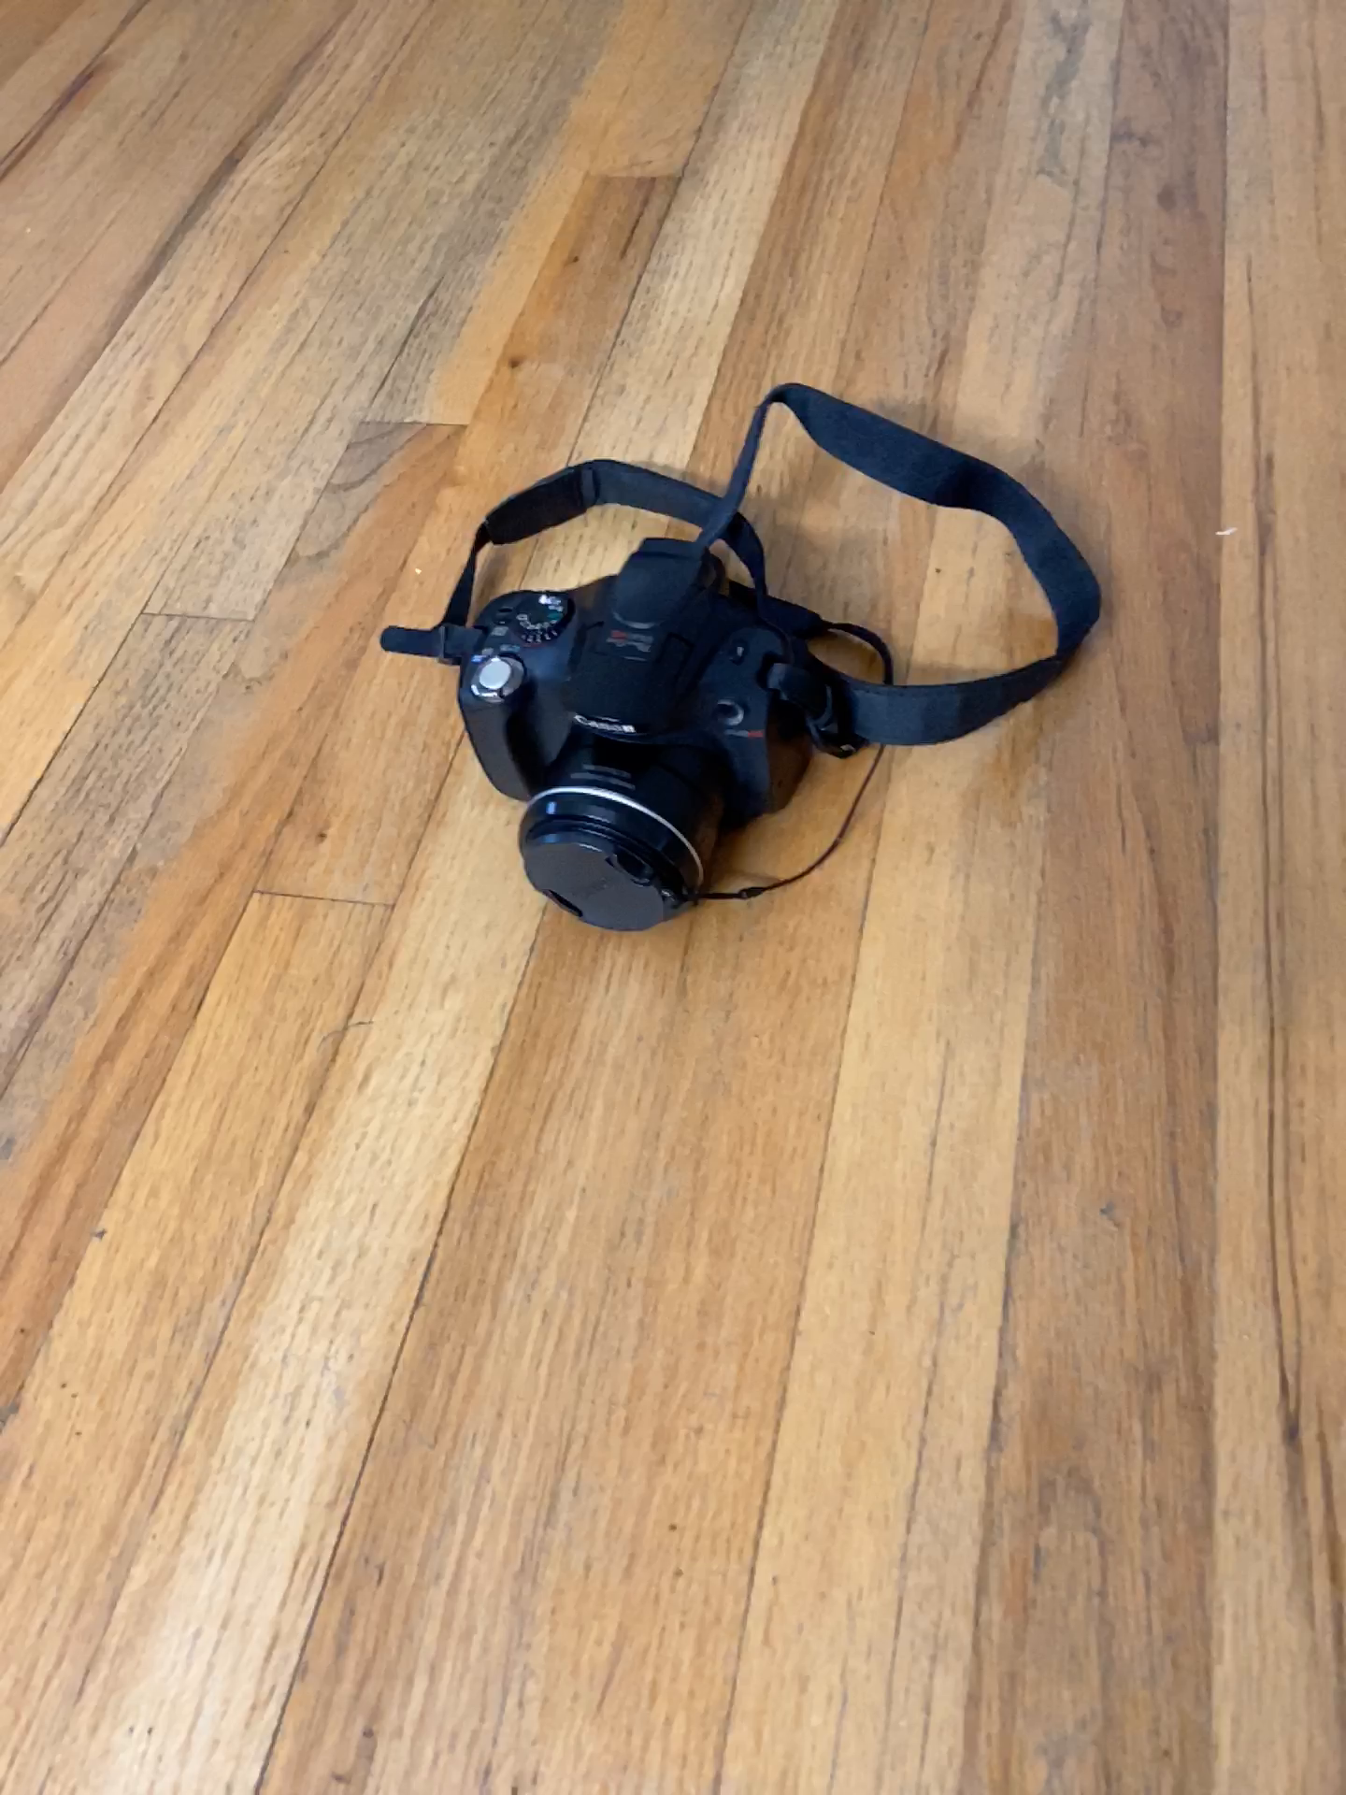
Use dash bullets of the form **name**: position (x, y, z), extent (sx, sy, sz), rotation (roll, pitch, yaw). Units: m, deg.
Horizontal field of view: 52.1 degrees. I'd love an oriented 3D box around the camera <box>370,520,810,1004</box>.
- **camera**: position (-0.020, -0.049, 0.497), extent (0.110, 0.110, 0.120), rotation (8, 58, 15)
